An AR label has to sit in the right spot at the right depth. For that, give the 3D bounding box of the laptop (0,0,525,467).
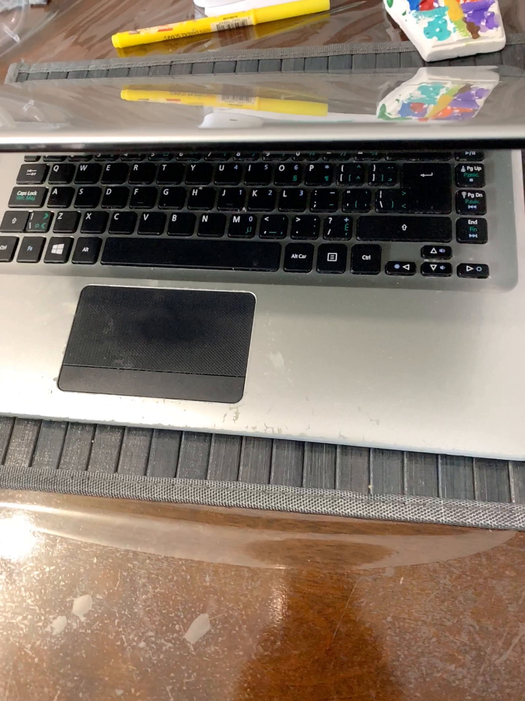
[{"bbox_3d":[-0.034,-0.093,0.262,0.344,0.145,0.236,3,68,10],"label":"laptop"}]
